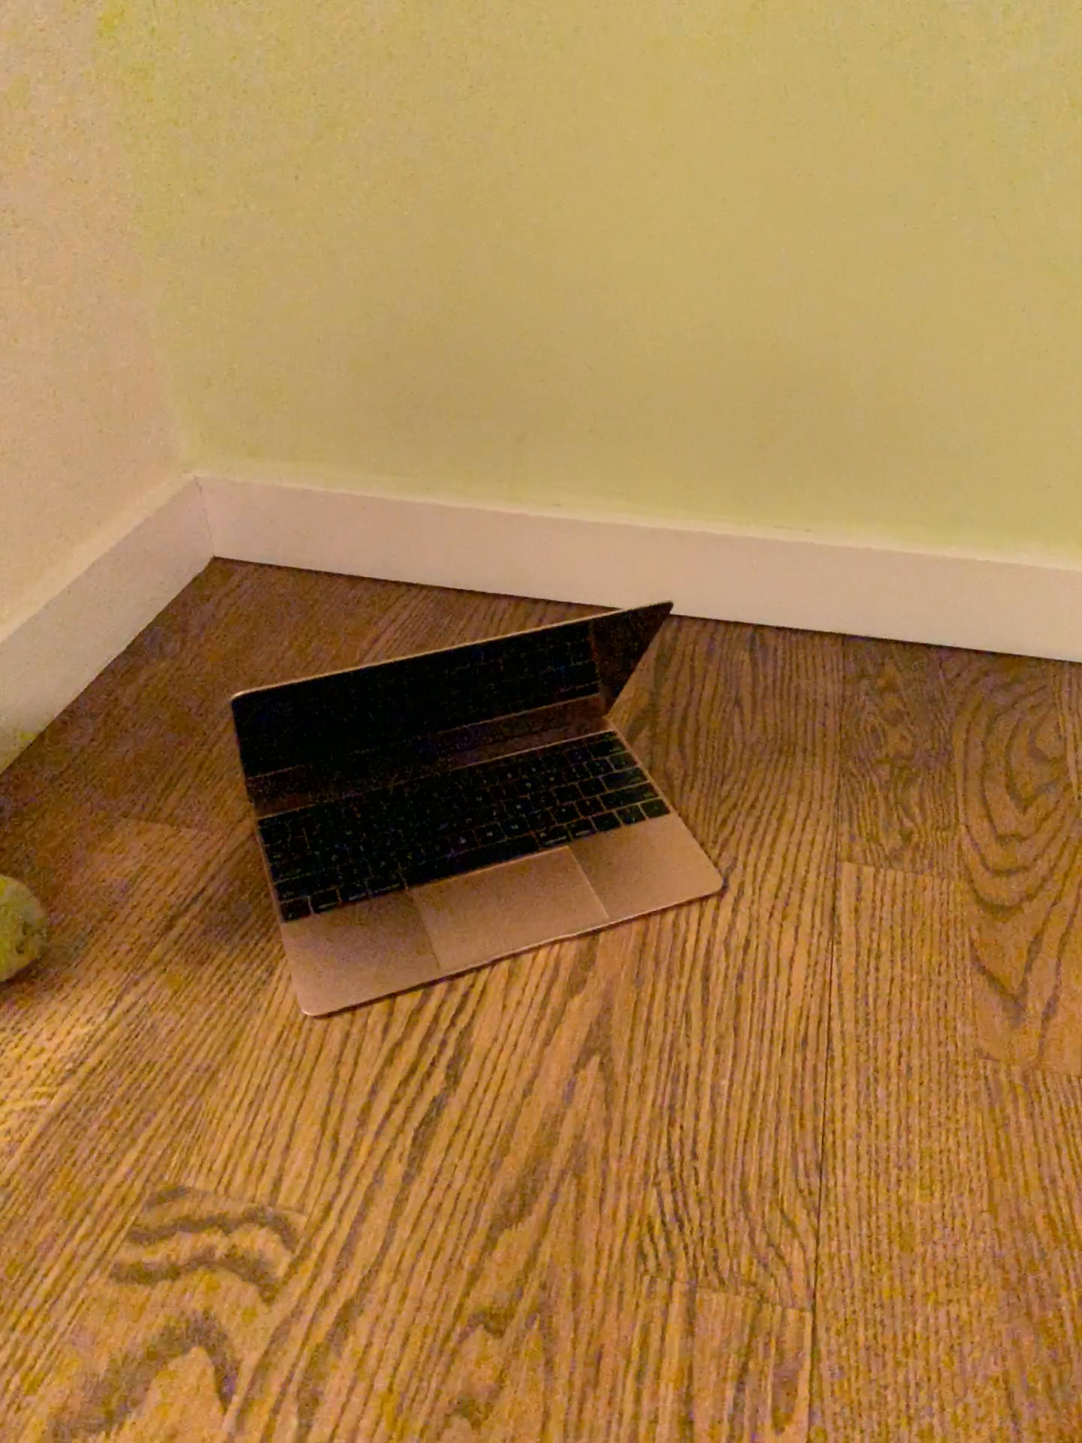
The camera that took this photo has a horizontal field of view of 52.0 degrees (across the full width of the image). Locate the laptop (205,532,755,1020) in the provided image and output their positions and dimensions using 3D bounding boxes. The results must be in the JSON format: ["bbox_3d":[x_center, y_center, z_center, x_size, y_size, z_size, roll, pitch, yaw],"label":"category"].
[{"bbox_3d":[-0.046,0.021,0.734,0.288,0.168,0.207,-14,39,-17],"label":"laptop"}]
